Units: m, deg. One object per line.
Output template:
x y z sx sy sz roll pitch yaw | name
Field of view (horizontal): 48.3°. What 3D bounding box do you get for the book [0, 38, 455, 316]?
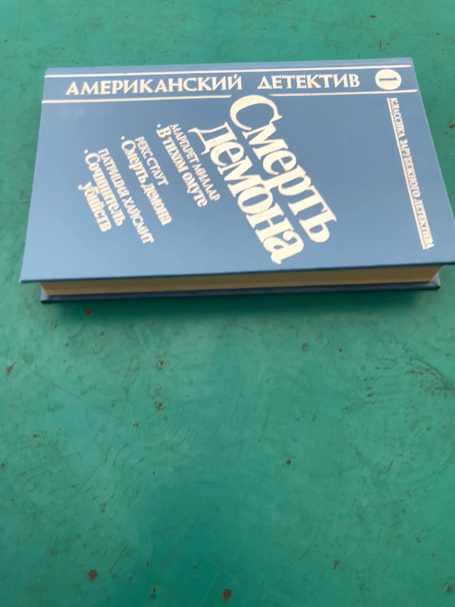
0.000 -0.070 0.262 0.212 0.034 0.142 -2 67 -3 | book
